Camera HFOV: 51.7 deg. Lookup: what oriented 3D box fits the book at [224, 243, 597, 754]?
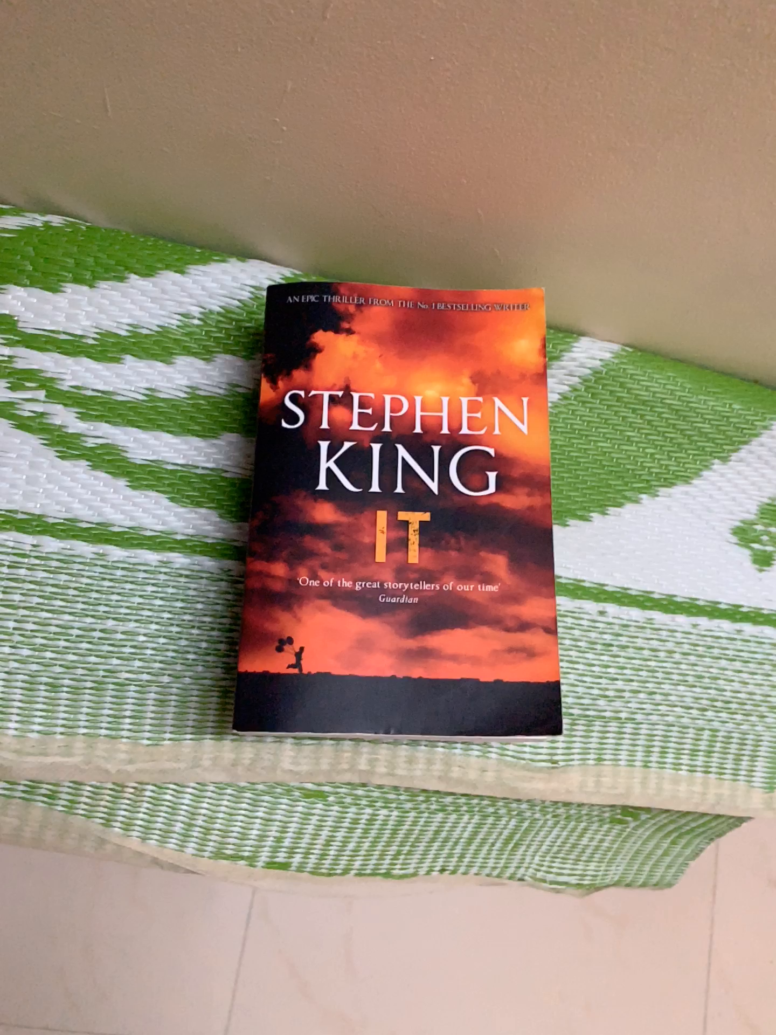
[{"bbox_3d":[0.008,-0.007,0.364,0.140,0.070,0.210,5,70,-8],"label":"book"}]
